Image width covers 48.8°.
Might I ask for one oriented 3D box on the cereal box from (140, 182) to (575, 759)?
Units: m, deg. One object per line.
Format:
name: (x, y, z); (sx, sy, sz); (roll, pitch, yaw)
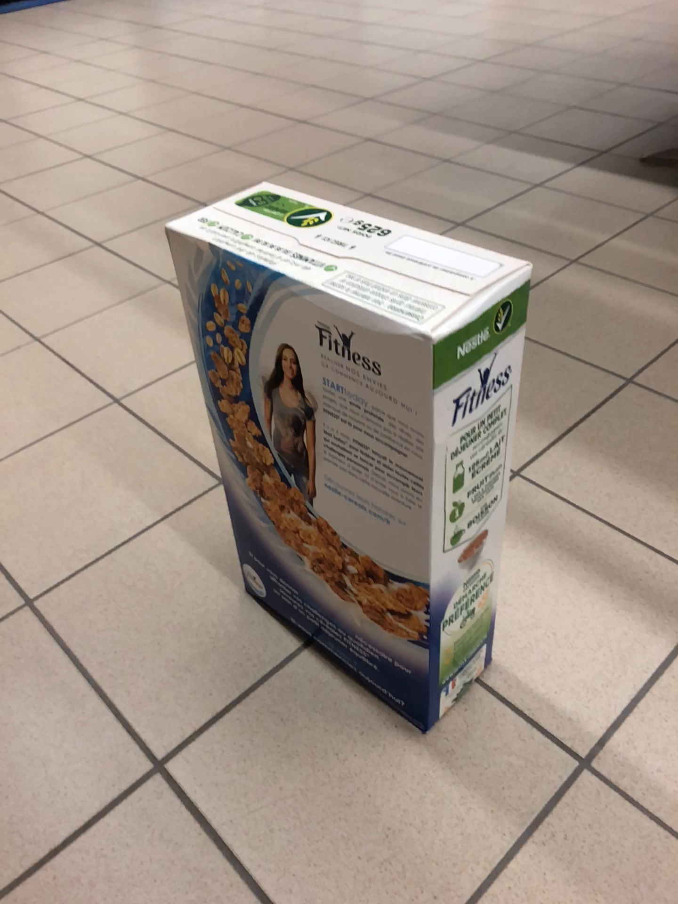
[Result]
cereal box: (0.008, 0.015, 0.465); (0.210, 0.298, 0.090); (28, 48, 34)
